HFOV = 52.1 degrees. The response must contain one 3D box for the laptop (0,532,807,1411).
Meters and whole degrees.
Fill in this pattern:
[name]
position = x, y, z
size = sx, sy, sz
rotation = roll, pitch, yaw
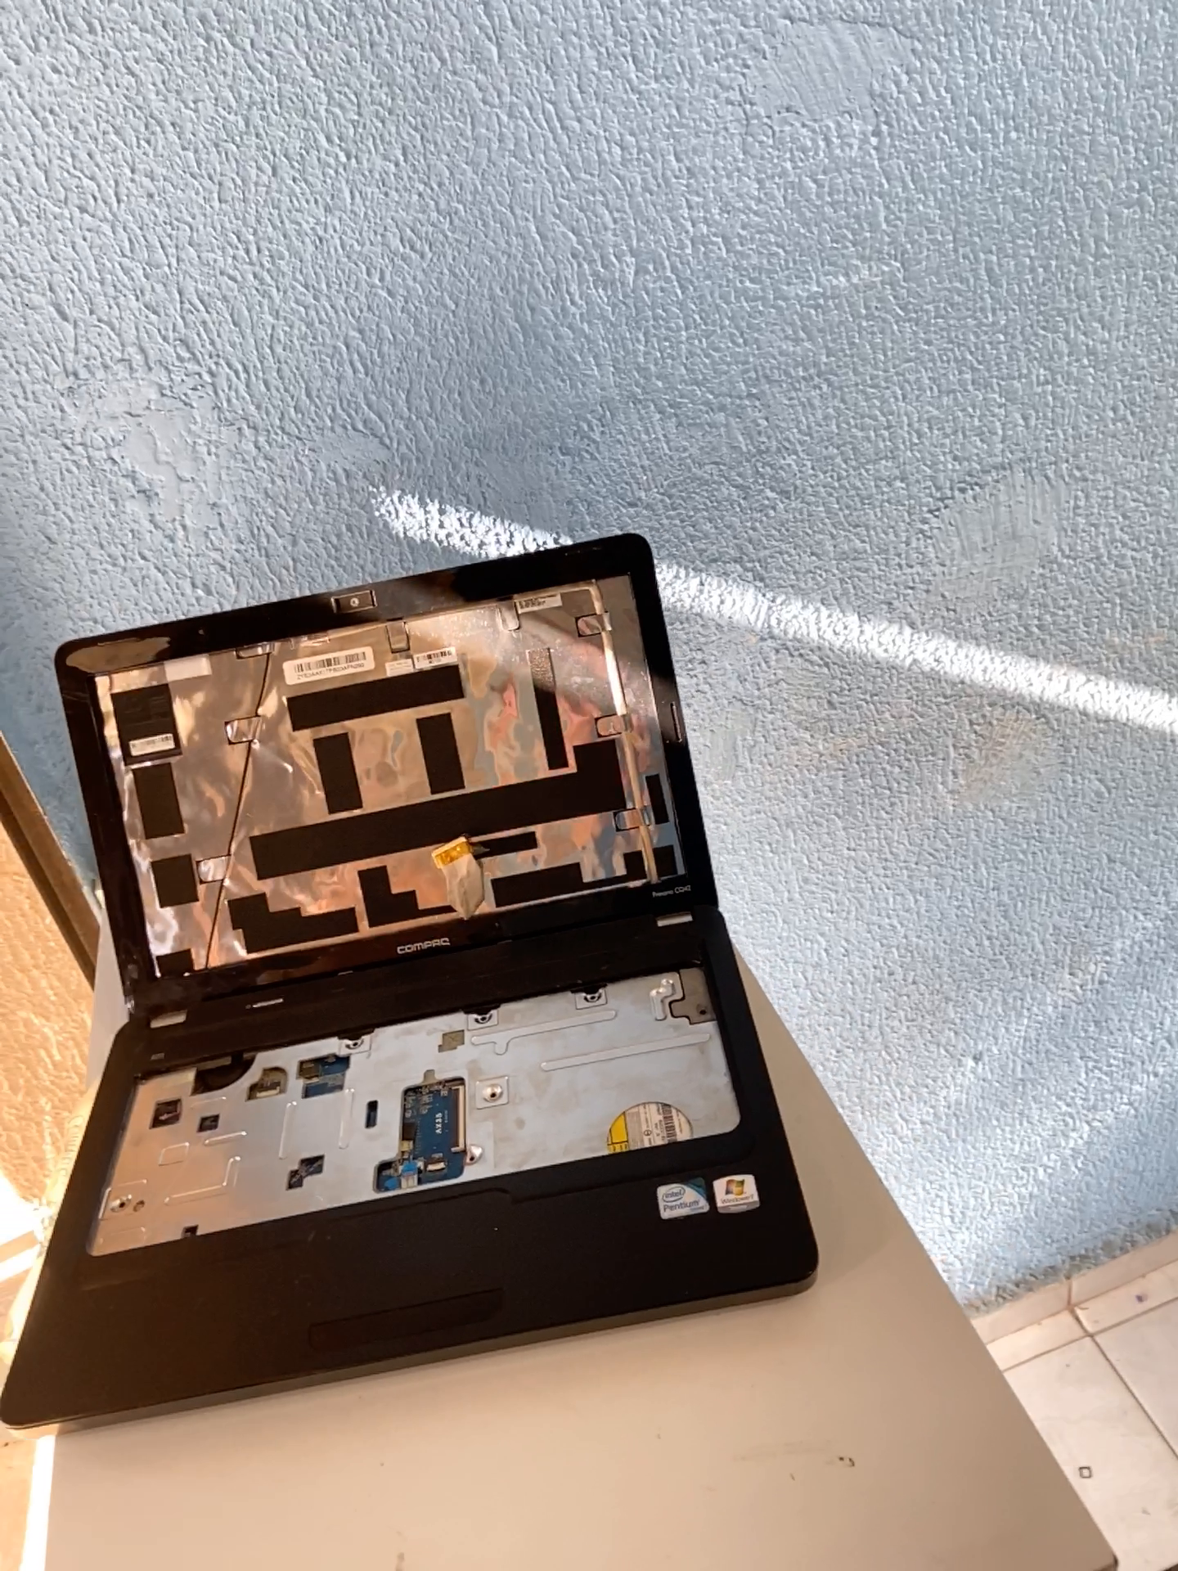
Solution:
[laptop]
position = -0.101, 0.059, 0.590
size = 0.331, 0.182, 0.337
rotation = -11, 34, 2
